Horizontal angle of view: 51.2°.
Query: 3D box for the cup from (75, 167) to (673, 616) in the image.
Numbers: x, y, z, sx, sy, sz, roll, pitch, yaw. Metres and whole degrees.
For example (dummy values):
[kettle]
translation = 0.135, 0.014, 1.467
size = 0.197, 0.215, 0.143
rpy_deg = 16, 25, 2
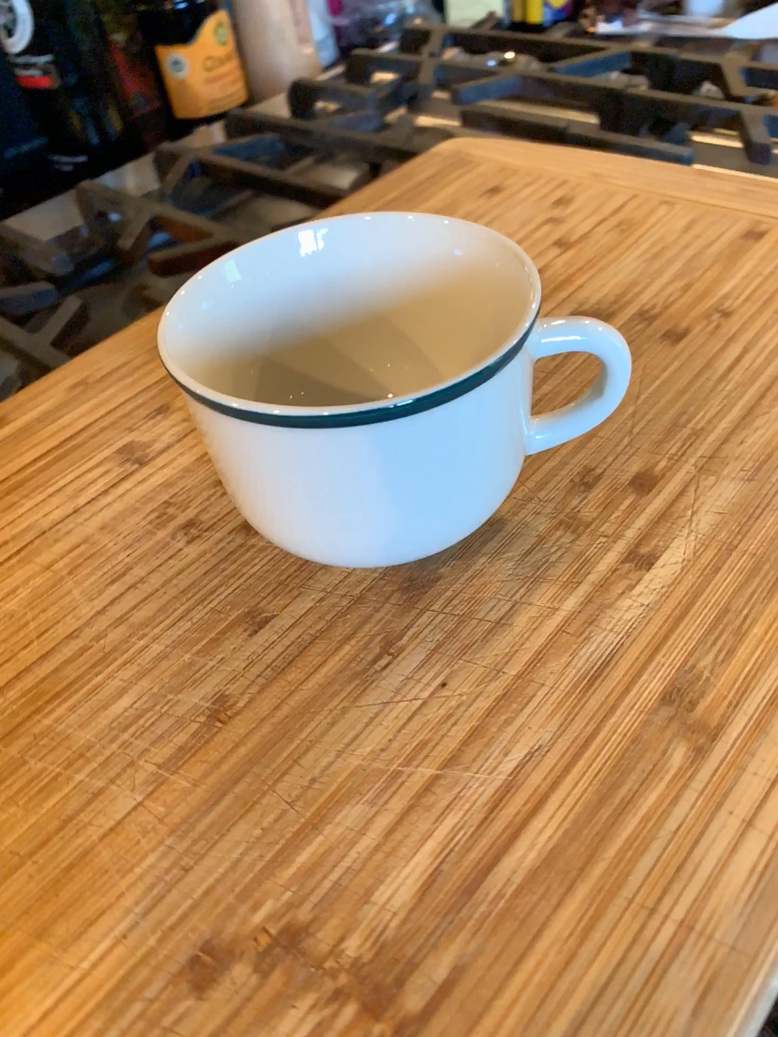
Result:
[cup]
translation = -0.003, -0.036, 0.214
size = 0.120, 0.060, 0.090
rpy_deg = -8, 44, 3
